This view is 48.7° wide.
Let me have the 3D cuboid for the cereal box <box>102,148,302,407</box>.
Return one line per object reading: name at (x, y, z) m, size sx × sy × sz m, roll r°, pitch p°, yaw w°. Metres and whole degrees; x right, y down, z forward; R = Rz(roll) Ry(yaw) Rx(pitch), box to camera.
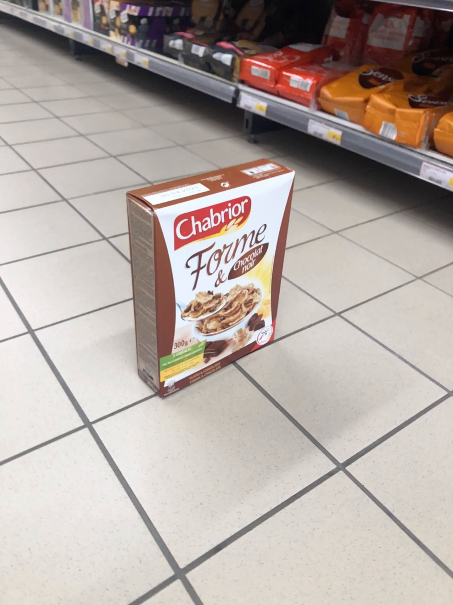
cereal box at (-0.025, -0.033, 0.592) m, size 0.211 × 0.248 × 0.070 m, roll -23°, pitch 42°, yaw -34°
